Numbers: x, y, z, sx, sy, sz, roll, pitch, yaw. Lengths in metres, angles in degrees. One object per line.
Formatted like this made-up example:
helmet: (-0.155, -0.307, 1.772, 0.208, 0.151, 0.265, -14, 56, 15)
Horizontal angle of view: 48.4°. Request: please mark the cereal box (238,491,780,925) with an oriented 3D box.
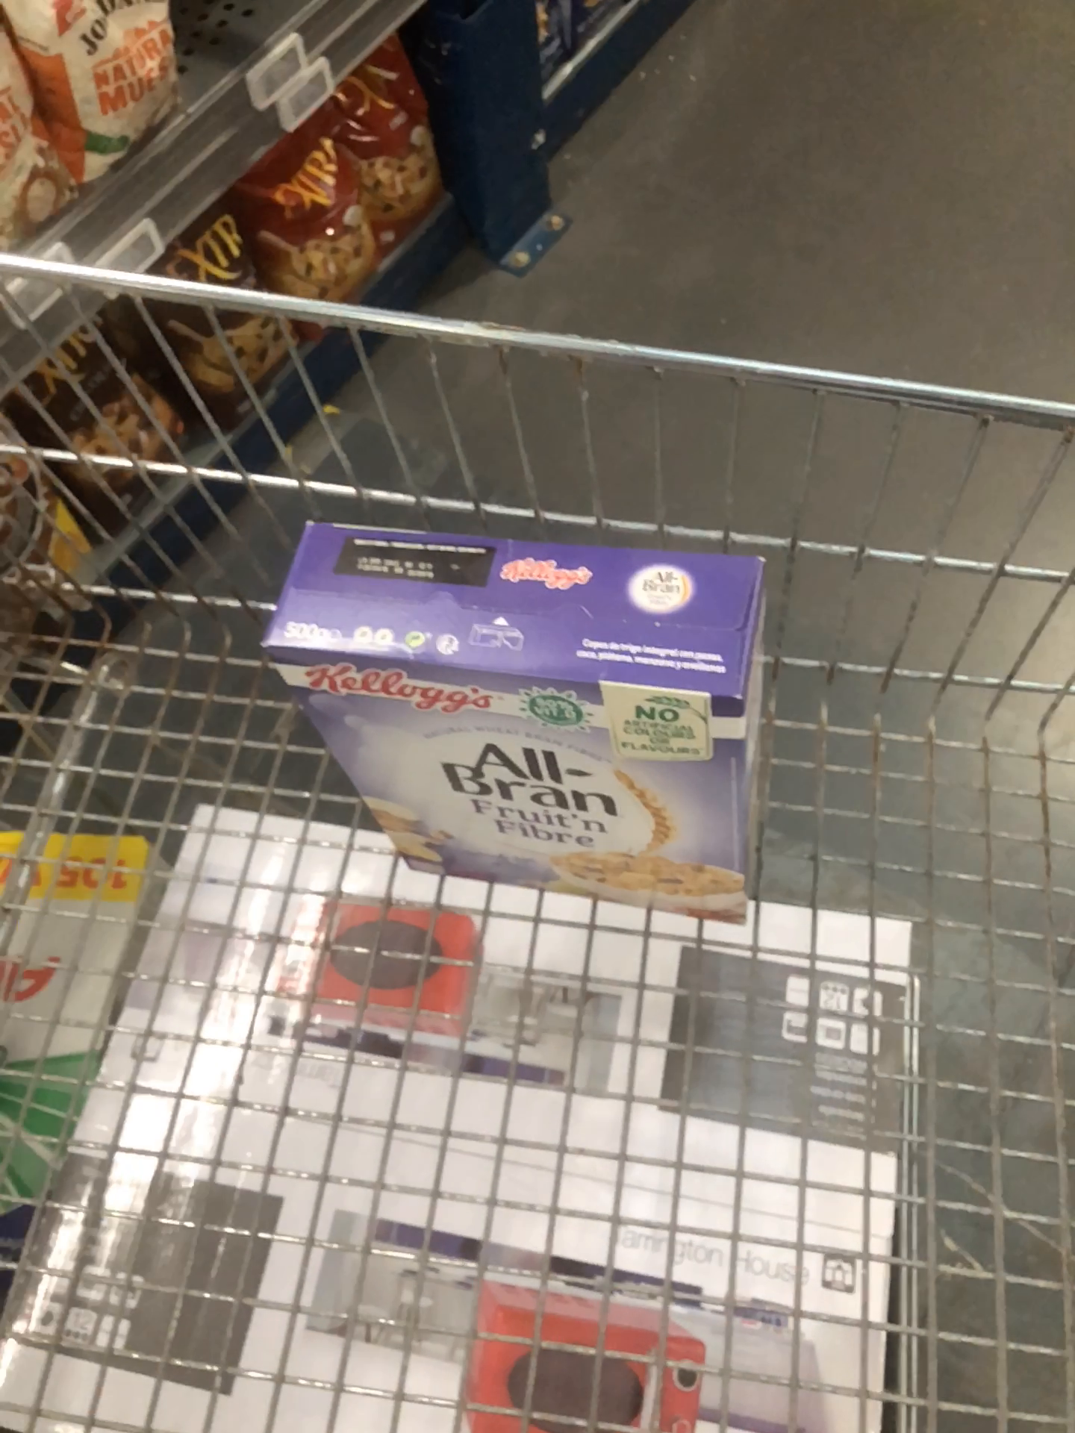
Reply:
cereal box: (0.006, 0.006, 0.561, 0.200, 0.229, 0.080, 6, 62, 13)
